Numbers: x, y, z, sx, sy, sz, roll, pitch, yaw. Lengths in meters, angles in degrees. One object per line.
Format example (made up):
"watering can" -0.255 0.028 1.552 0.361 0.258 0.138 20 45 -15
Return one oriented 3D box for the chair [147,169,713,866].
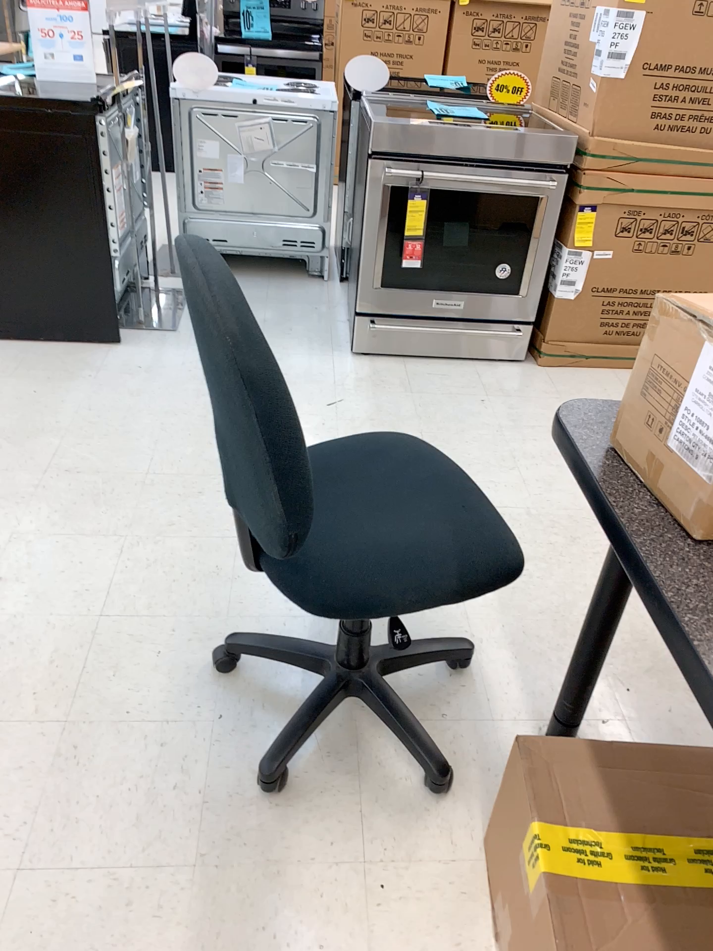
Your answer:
"chair" 0.023 0.045 1.272 0.600 0.965 0.603 -9 36 -20
